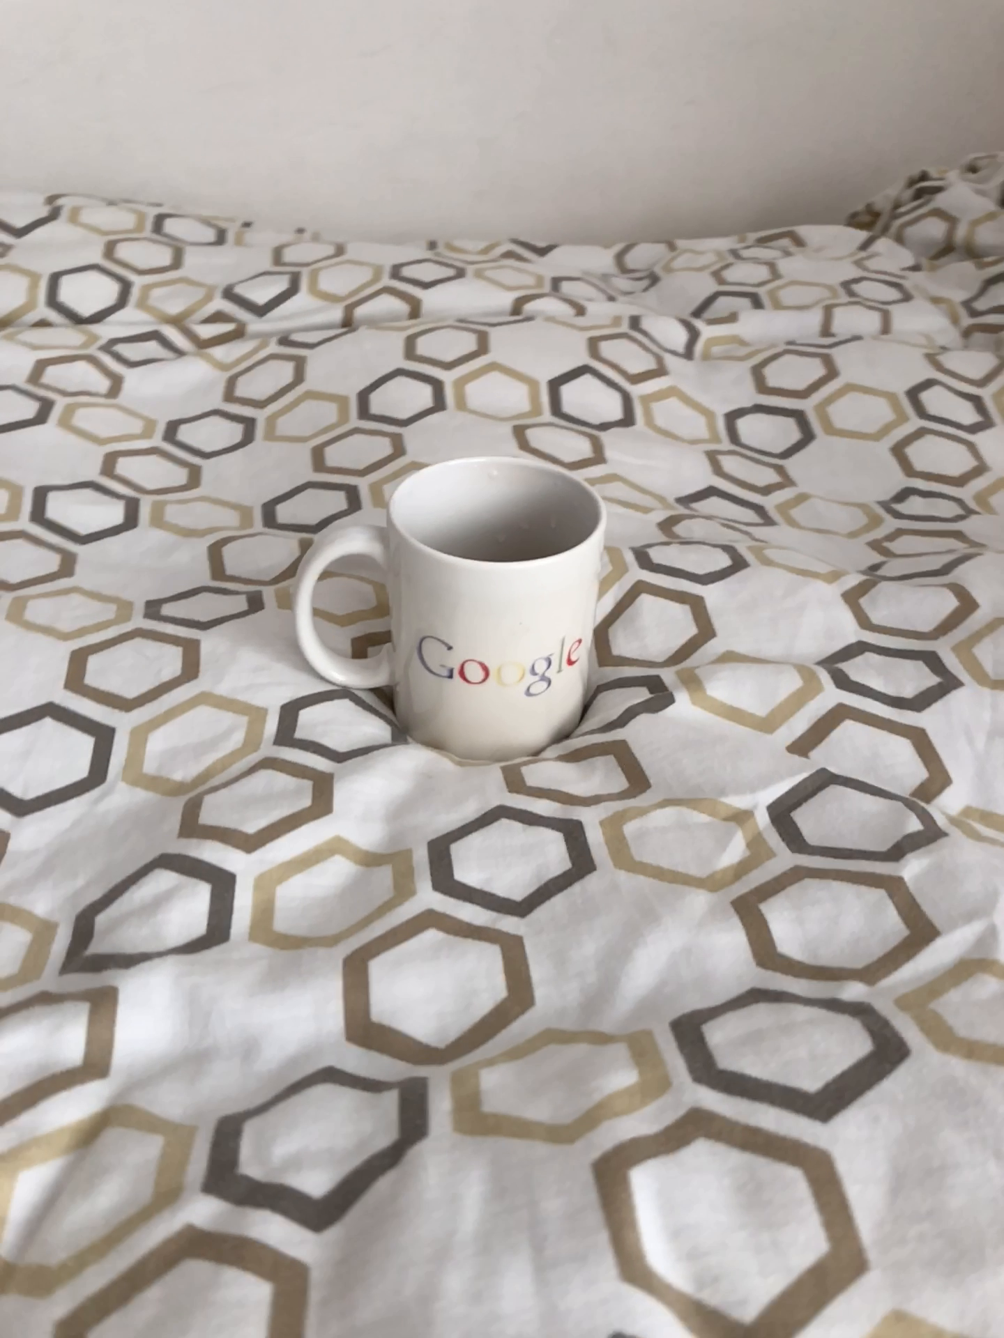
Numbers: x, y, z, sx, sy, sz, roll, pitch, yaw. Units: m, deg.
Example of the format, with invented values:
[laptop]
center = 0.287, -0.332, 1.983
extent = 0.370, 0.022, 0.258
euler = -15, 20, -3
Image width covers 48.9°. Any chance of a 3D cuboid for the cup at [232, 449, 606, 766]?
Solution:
[cup]
center = -0.027, -0.025, 0.432
extent = 0.126, 0.087, 0.087
euler = 1, 37, 1
